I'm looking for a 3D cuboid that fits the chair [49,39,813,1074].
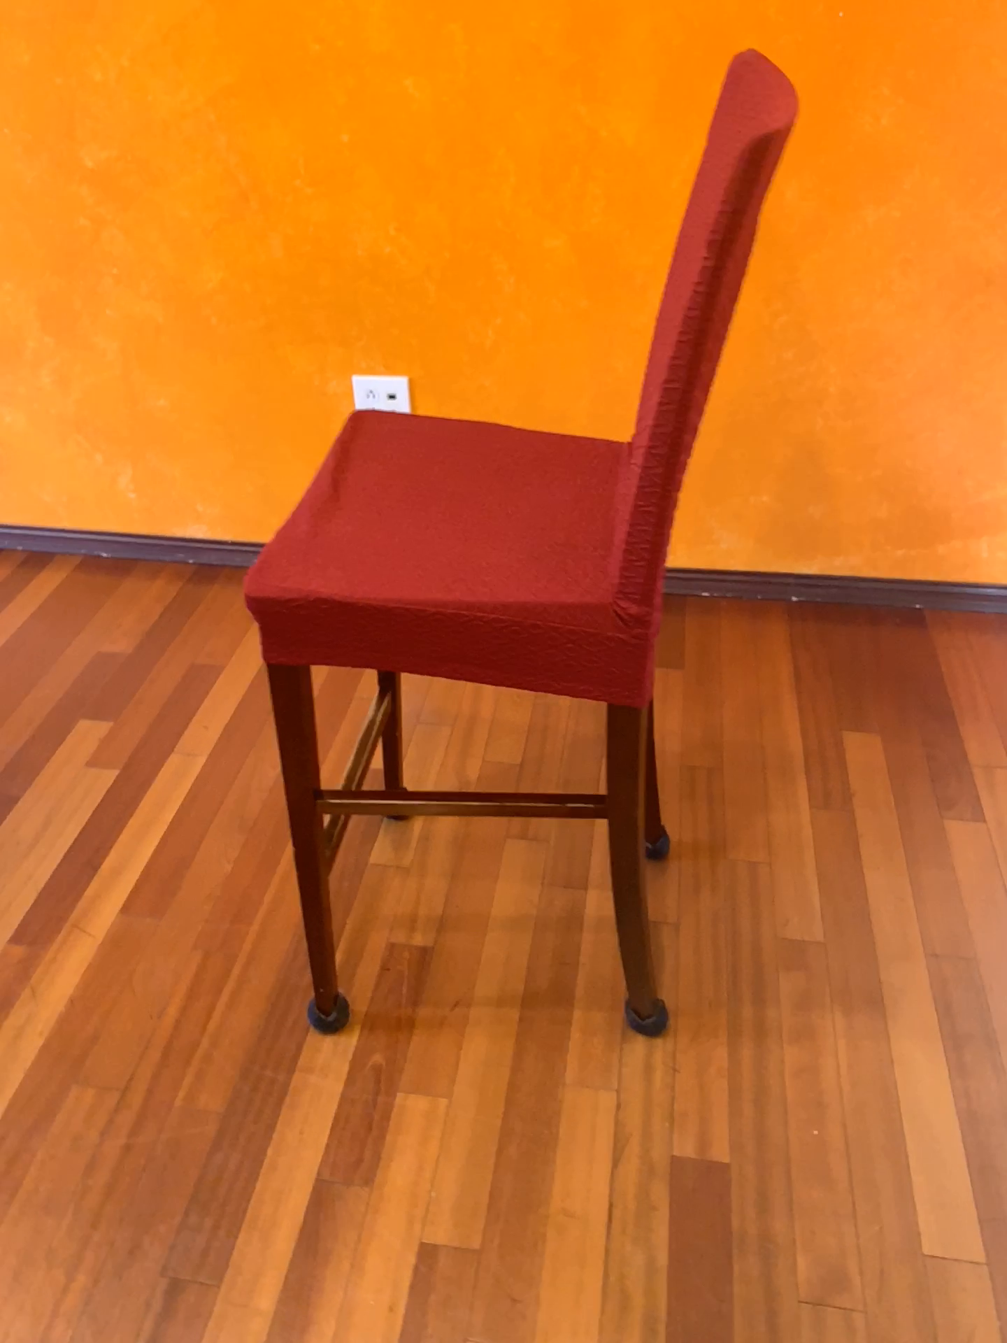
[{"bbox_3d":[-0.021,-0.086,1.174,0.511,1.027,0.466,5,37,7],"label":"chair"}]
